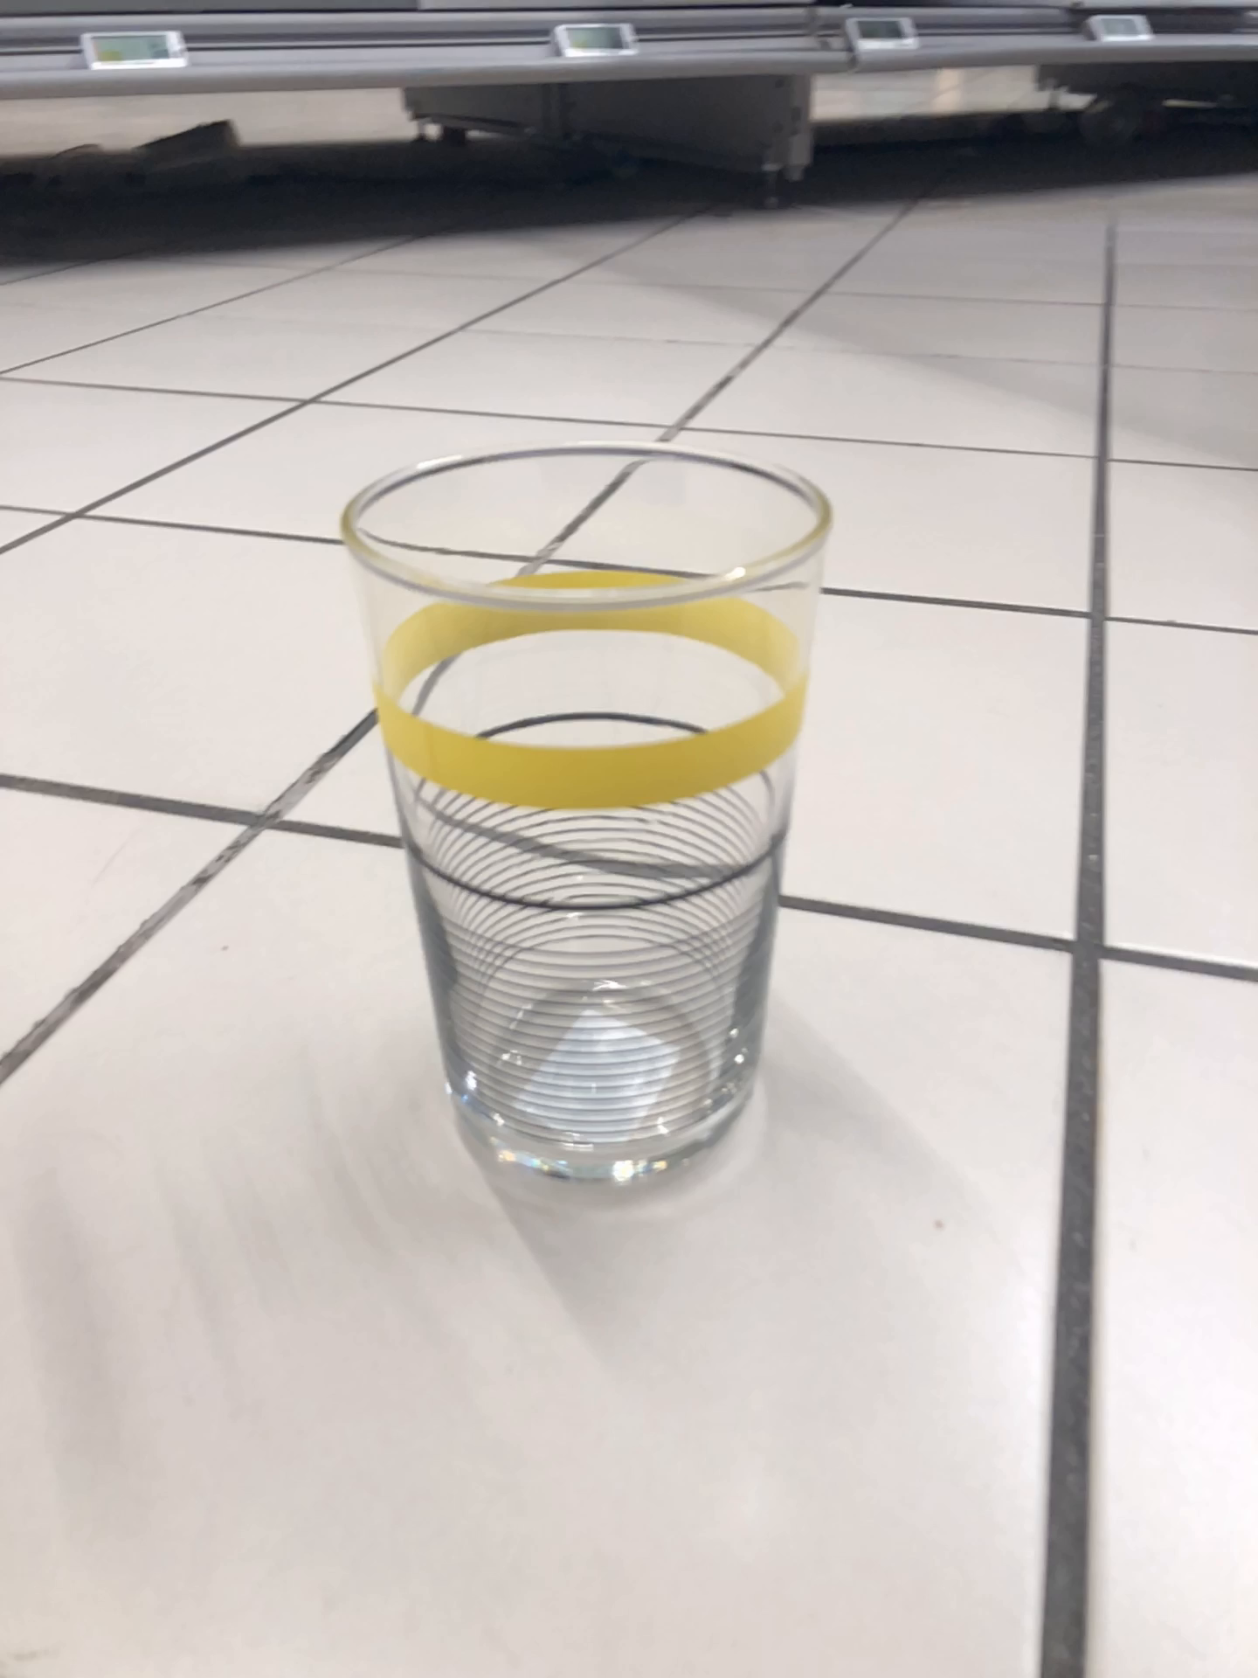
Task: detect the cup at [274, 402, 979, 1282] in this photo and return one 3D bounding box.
[{"bbox_3d":[0.003,-0.005,0.244,0.076,0.114,0.080,-1,32,1],"label":"cup"}]
